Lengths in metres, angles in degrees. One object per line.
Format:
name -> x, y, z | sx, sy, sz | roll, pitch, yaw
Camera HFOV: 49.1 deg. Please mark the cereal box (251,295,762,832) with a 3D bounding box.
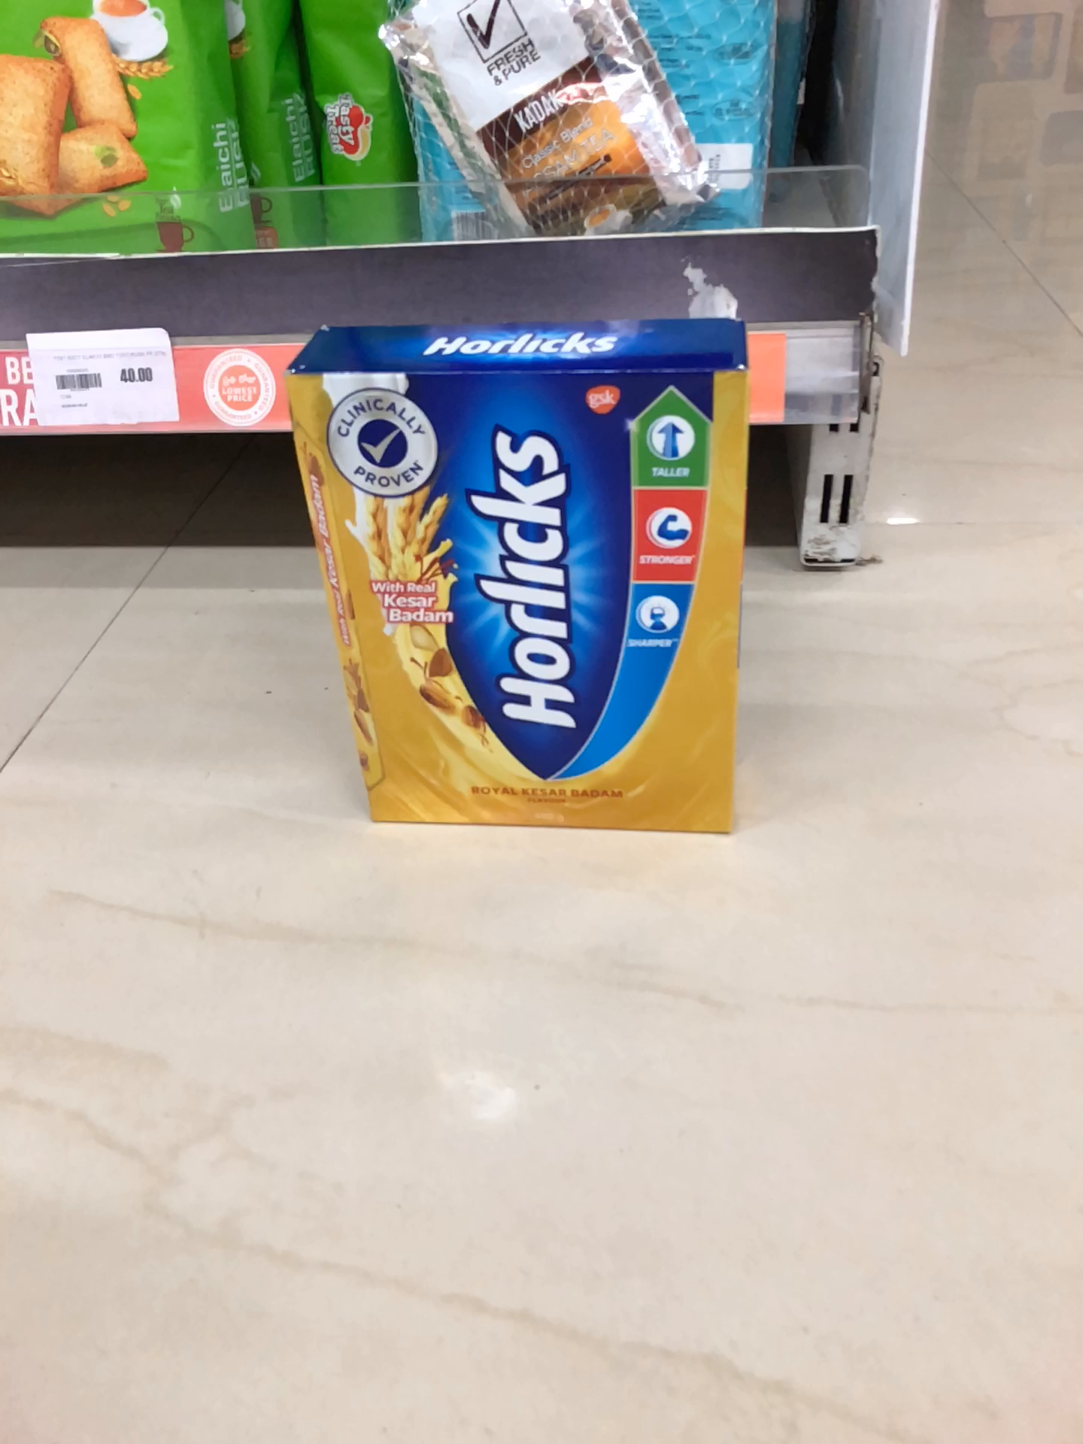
cereal box -> -0.004, -0.049, 0.415 | 0.150, 0.179, 0.050 | 1, 35, 7
